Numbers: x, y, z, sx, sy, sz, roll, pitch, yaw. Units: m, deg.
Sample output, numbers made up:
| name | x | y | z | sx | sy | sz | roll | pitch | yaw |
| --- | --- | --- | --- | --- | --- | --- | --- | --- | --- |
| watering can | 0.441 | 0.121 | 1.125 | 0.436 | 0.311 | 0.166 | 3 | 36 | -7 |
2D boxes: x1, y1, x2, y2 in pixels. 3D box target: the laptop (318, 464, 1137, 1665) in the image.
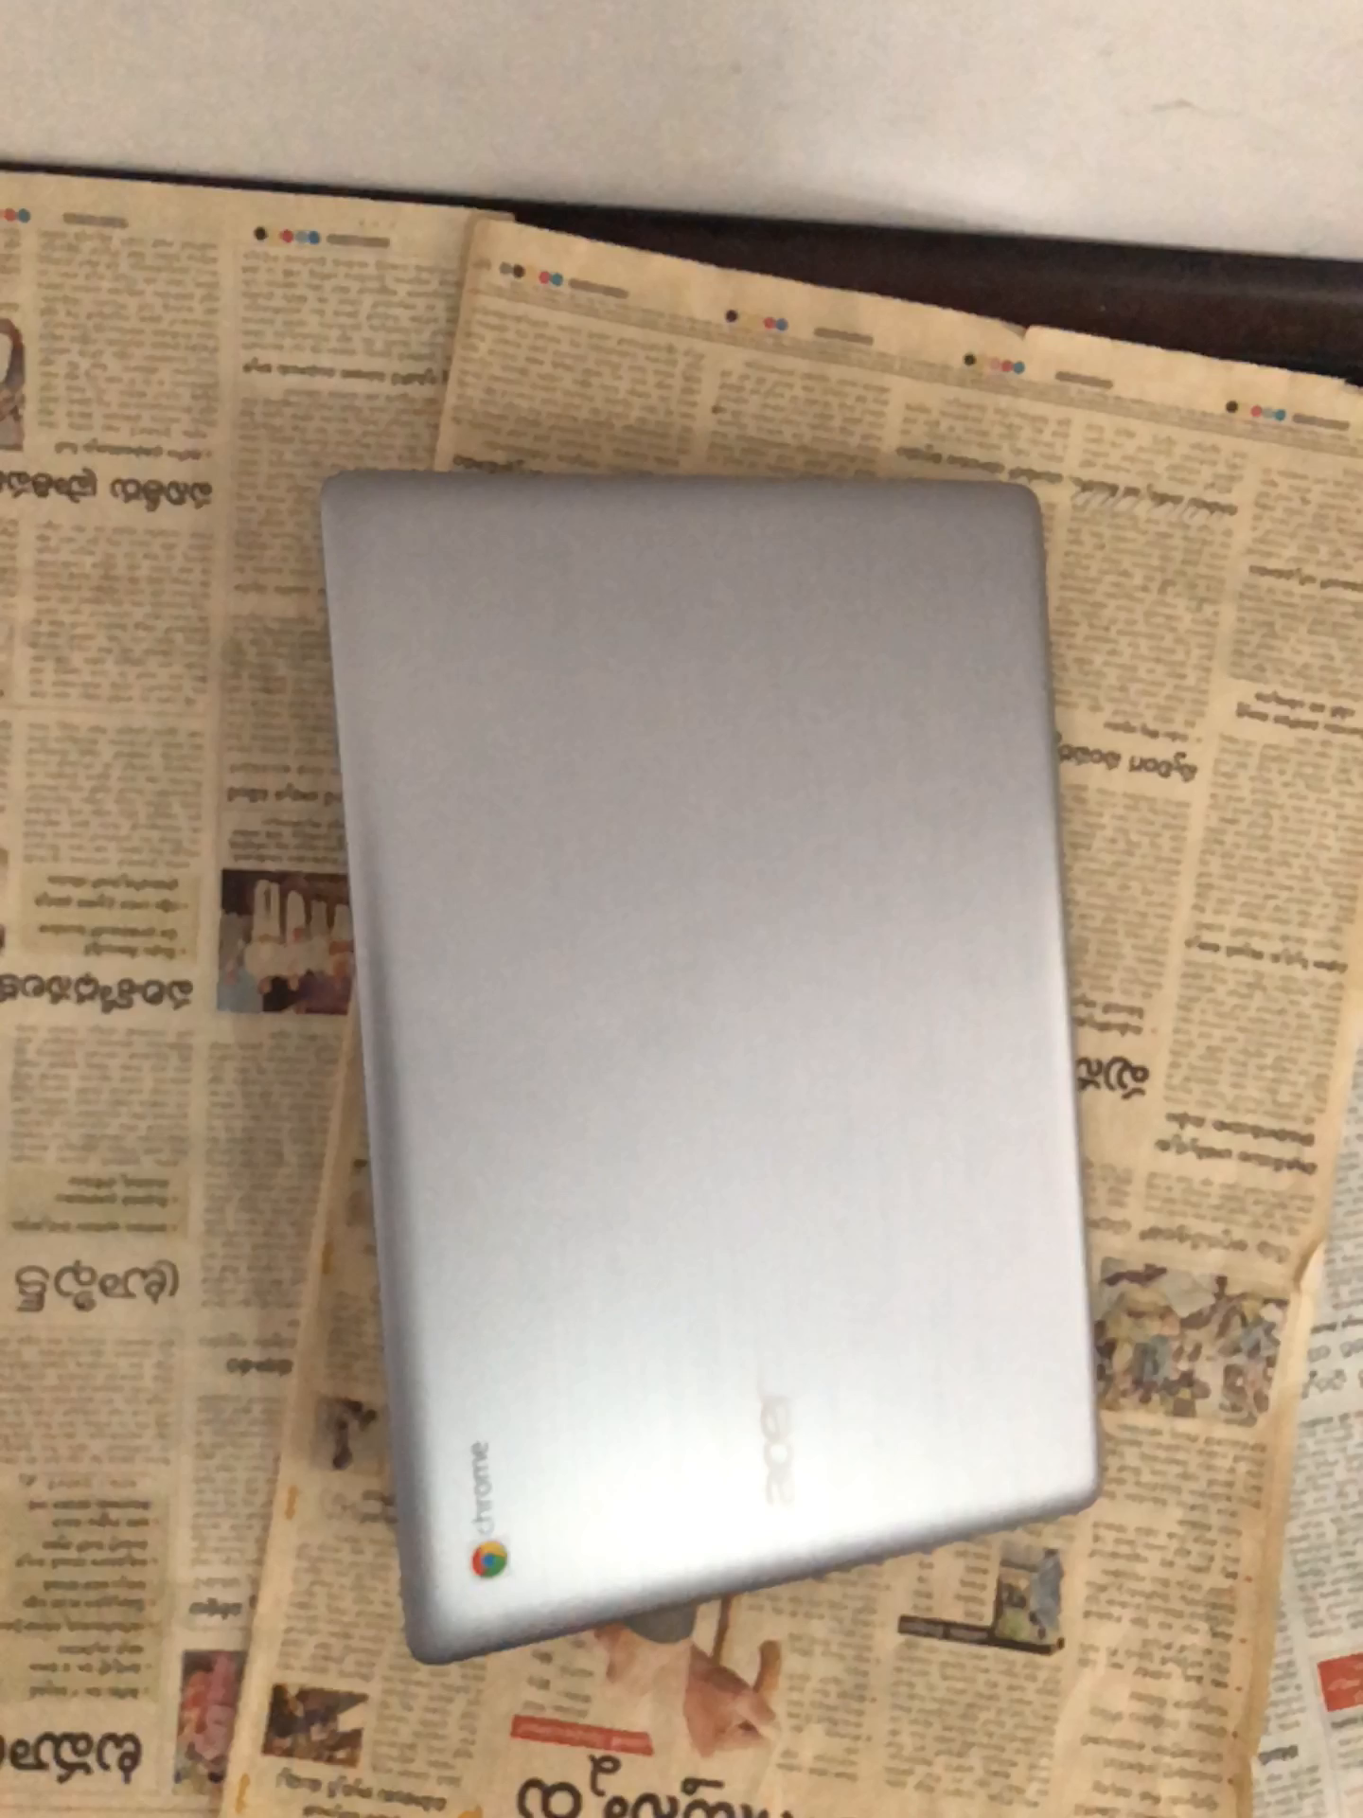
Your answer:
| name | x | y | z | sx | sy | sz | roll | pitch | yaw |
| --- | --- | --- | --- | --- | --- | --- | --- | --- | --- |
| laptop | 0.013 | 0.041 | 0.458 | 0.210 | 0.058 | 0.330 | -4 | 90 | -3 |
